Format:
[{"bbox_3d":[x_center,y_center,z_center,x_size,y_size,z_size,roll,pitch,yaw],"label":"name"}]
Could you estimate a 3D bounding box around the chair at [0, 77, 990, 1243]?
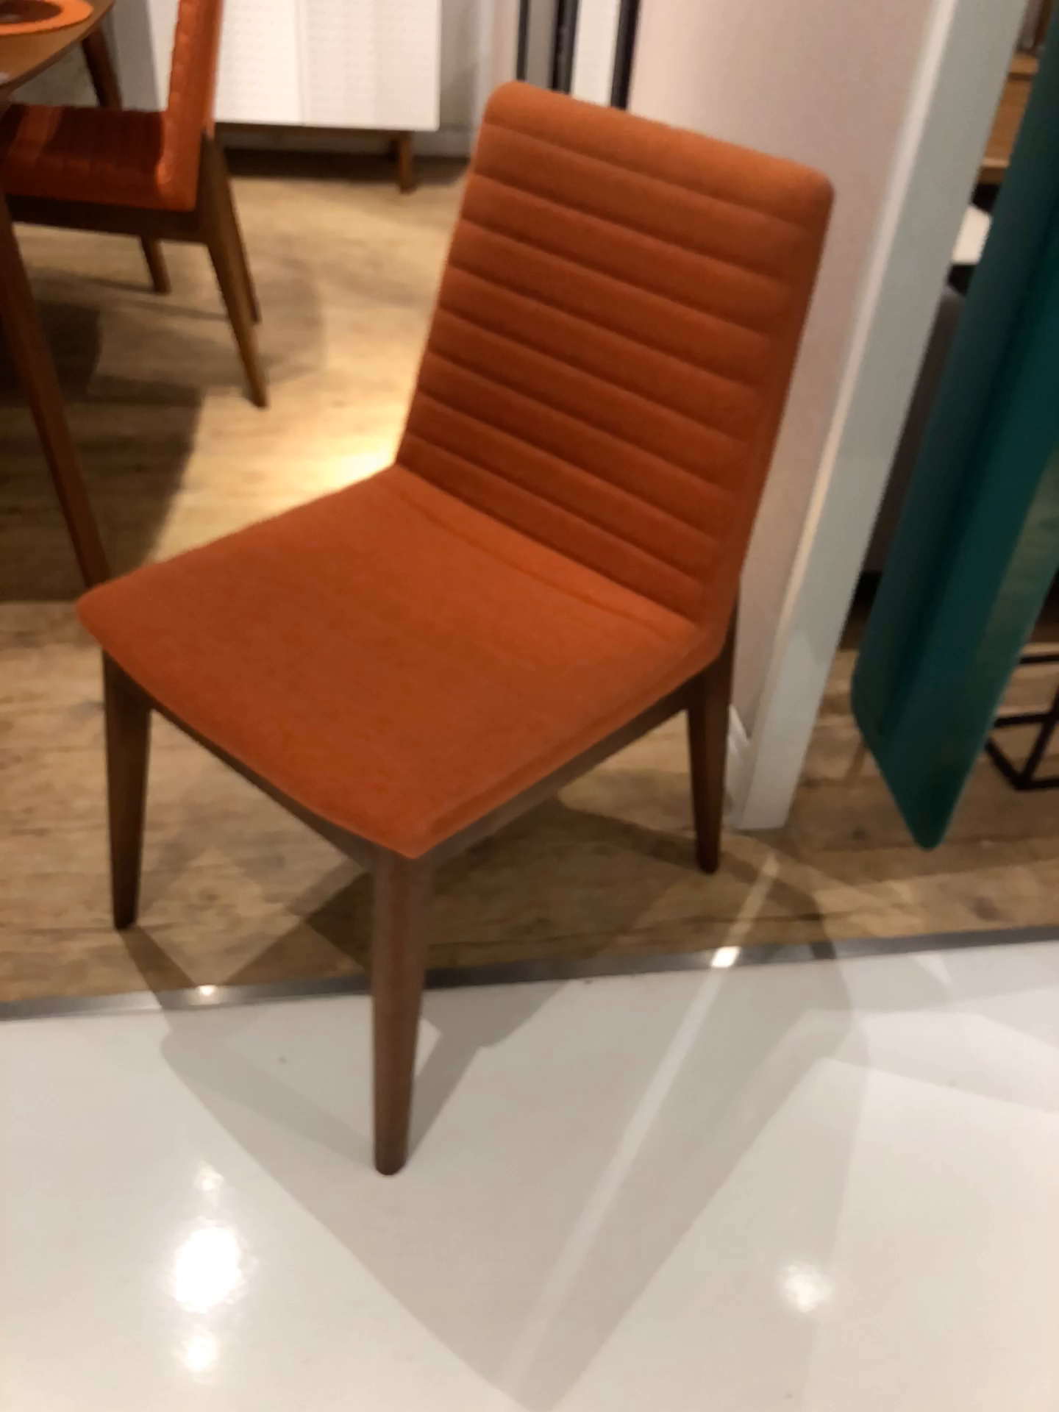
[{"bbox_3d":[-0.054,-0.079,1.164,0.532,0.813,0.633,31,45,28],"label":"chair"}]
